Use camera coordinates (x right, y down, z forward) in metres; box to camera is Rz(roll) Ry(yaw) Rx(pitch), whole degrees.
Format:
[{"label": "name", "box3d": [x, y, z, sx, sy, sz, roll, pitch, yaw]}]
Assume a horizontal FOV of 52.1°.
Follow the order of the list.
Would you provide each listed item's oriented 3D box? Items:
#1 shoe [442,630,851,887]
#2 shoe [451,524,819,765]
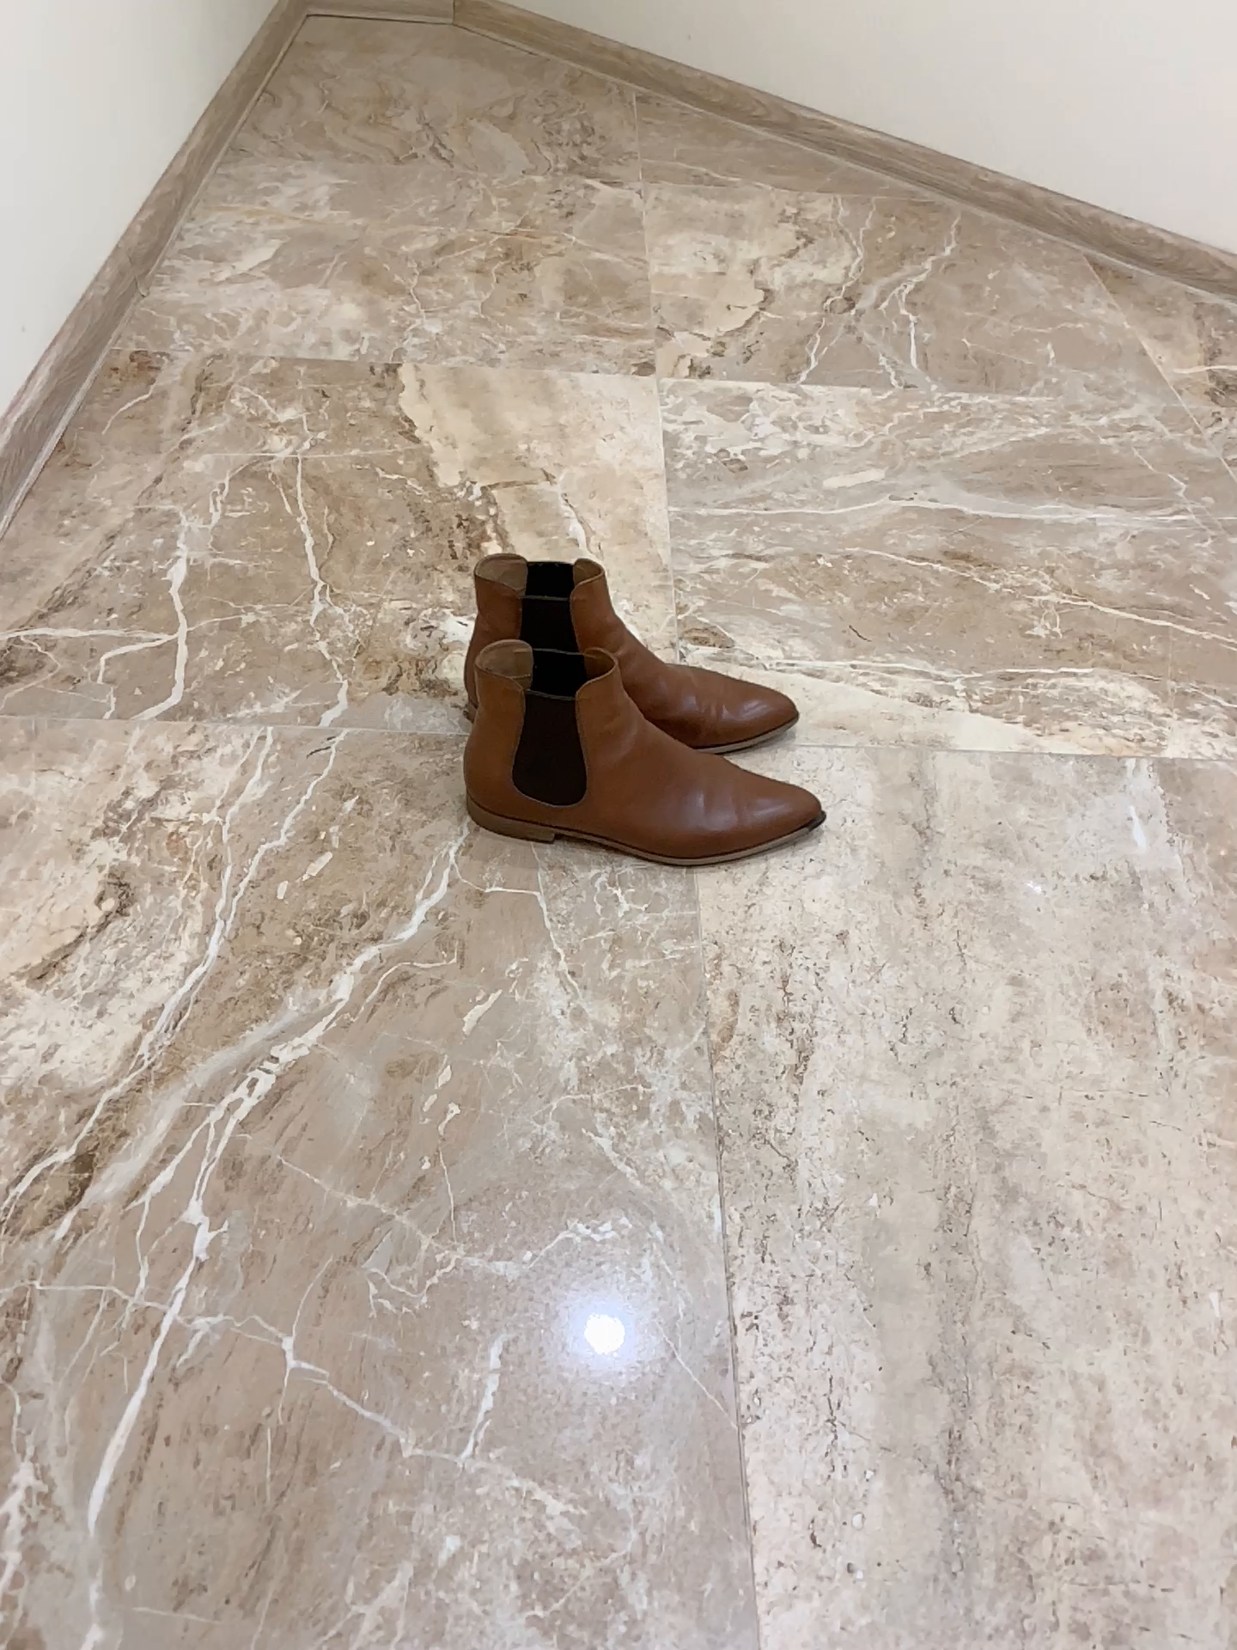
[{"label": "shoe", "box3d": [0.014, -0.043, 0.850, 0.250, 0.129, 0.090, 4, 45, -2]}, {"label": "shoe", "box3d": [0.010, -0.132, 0.929, 0.250, 0.119, 0.090, 6, 45, 0]}]
